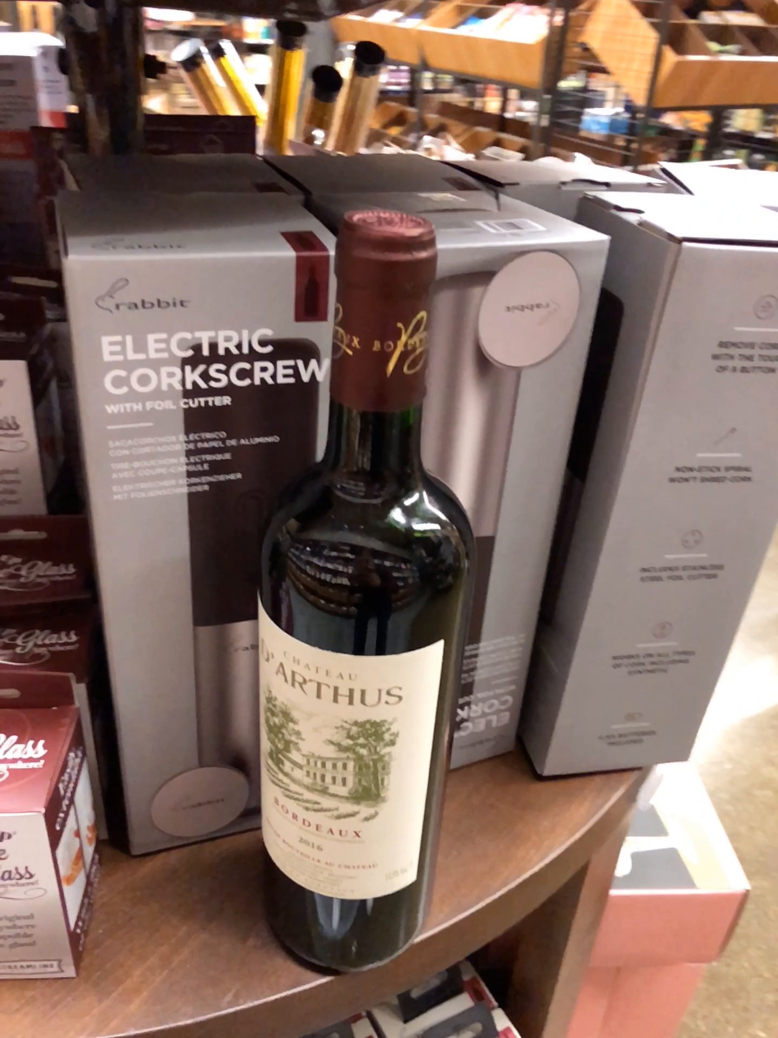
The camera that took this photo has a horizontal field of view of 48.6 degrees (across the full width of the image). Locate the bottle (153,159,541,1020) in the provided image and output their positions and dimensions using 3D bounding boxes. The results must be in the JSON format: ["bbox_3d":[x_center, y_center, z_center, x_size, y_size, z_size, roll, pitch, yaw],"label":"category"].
[{"bbox_3d":[-0.013,0.042,0.305,0.080,0.299,0.080,2,31,-1],"label":"bottle"}]
